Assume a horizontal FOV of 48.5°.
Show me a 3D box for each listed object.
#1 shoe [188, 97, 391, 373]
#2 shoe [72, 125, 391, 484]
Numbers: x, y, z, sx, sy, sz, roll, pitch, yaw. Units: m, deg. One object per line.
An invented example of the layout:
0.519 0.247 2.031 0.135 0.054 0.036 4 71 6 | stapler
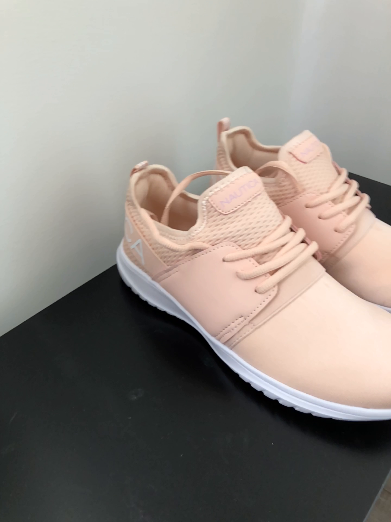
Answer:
0.118 -0.039 0.352 0.241 0.110 0.100 28 45 30 | shoe
0.042 0.005 0.298 0.251 0.110 0.100 28 45 30 | shoe
